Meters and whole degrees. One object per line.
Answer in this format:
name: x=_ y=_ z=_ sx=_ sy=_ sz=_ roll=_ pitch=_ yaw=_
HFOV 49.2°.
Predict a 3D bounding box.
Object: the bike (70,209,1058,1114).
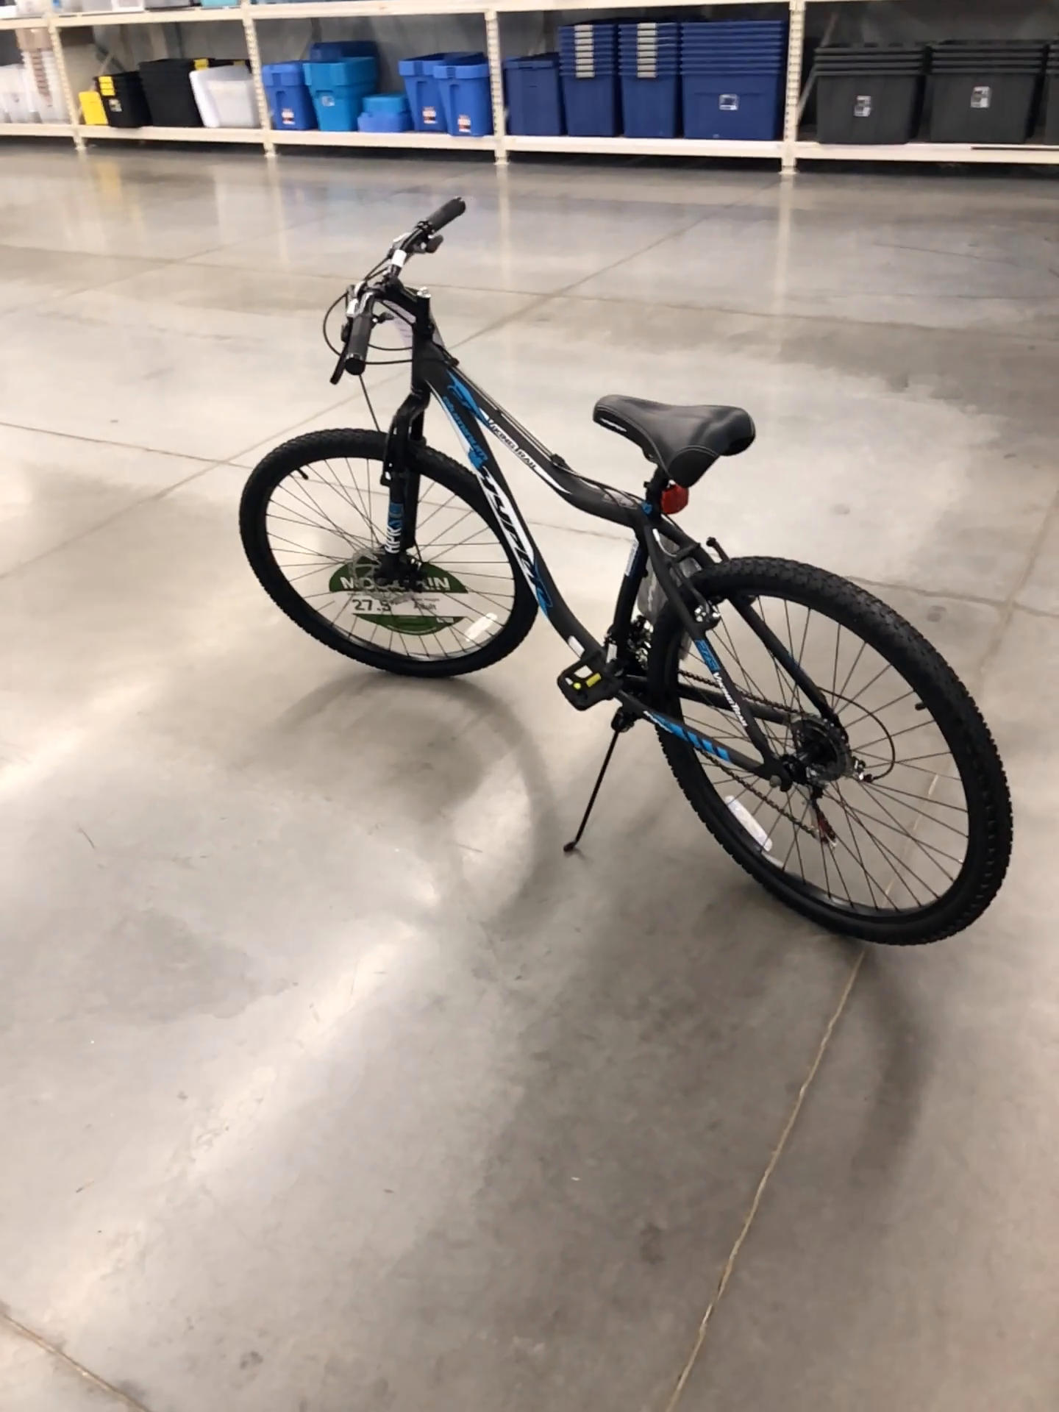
bike: x=0.018 y=-0.232 z=1.984 sx=1.639 sy=0.986 sz=0.573 roll=23 pitch=41 yaw=37
